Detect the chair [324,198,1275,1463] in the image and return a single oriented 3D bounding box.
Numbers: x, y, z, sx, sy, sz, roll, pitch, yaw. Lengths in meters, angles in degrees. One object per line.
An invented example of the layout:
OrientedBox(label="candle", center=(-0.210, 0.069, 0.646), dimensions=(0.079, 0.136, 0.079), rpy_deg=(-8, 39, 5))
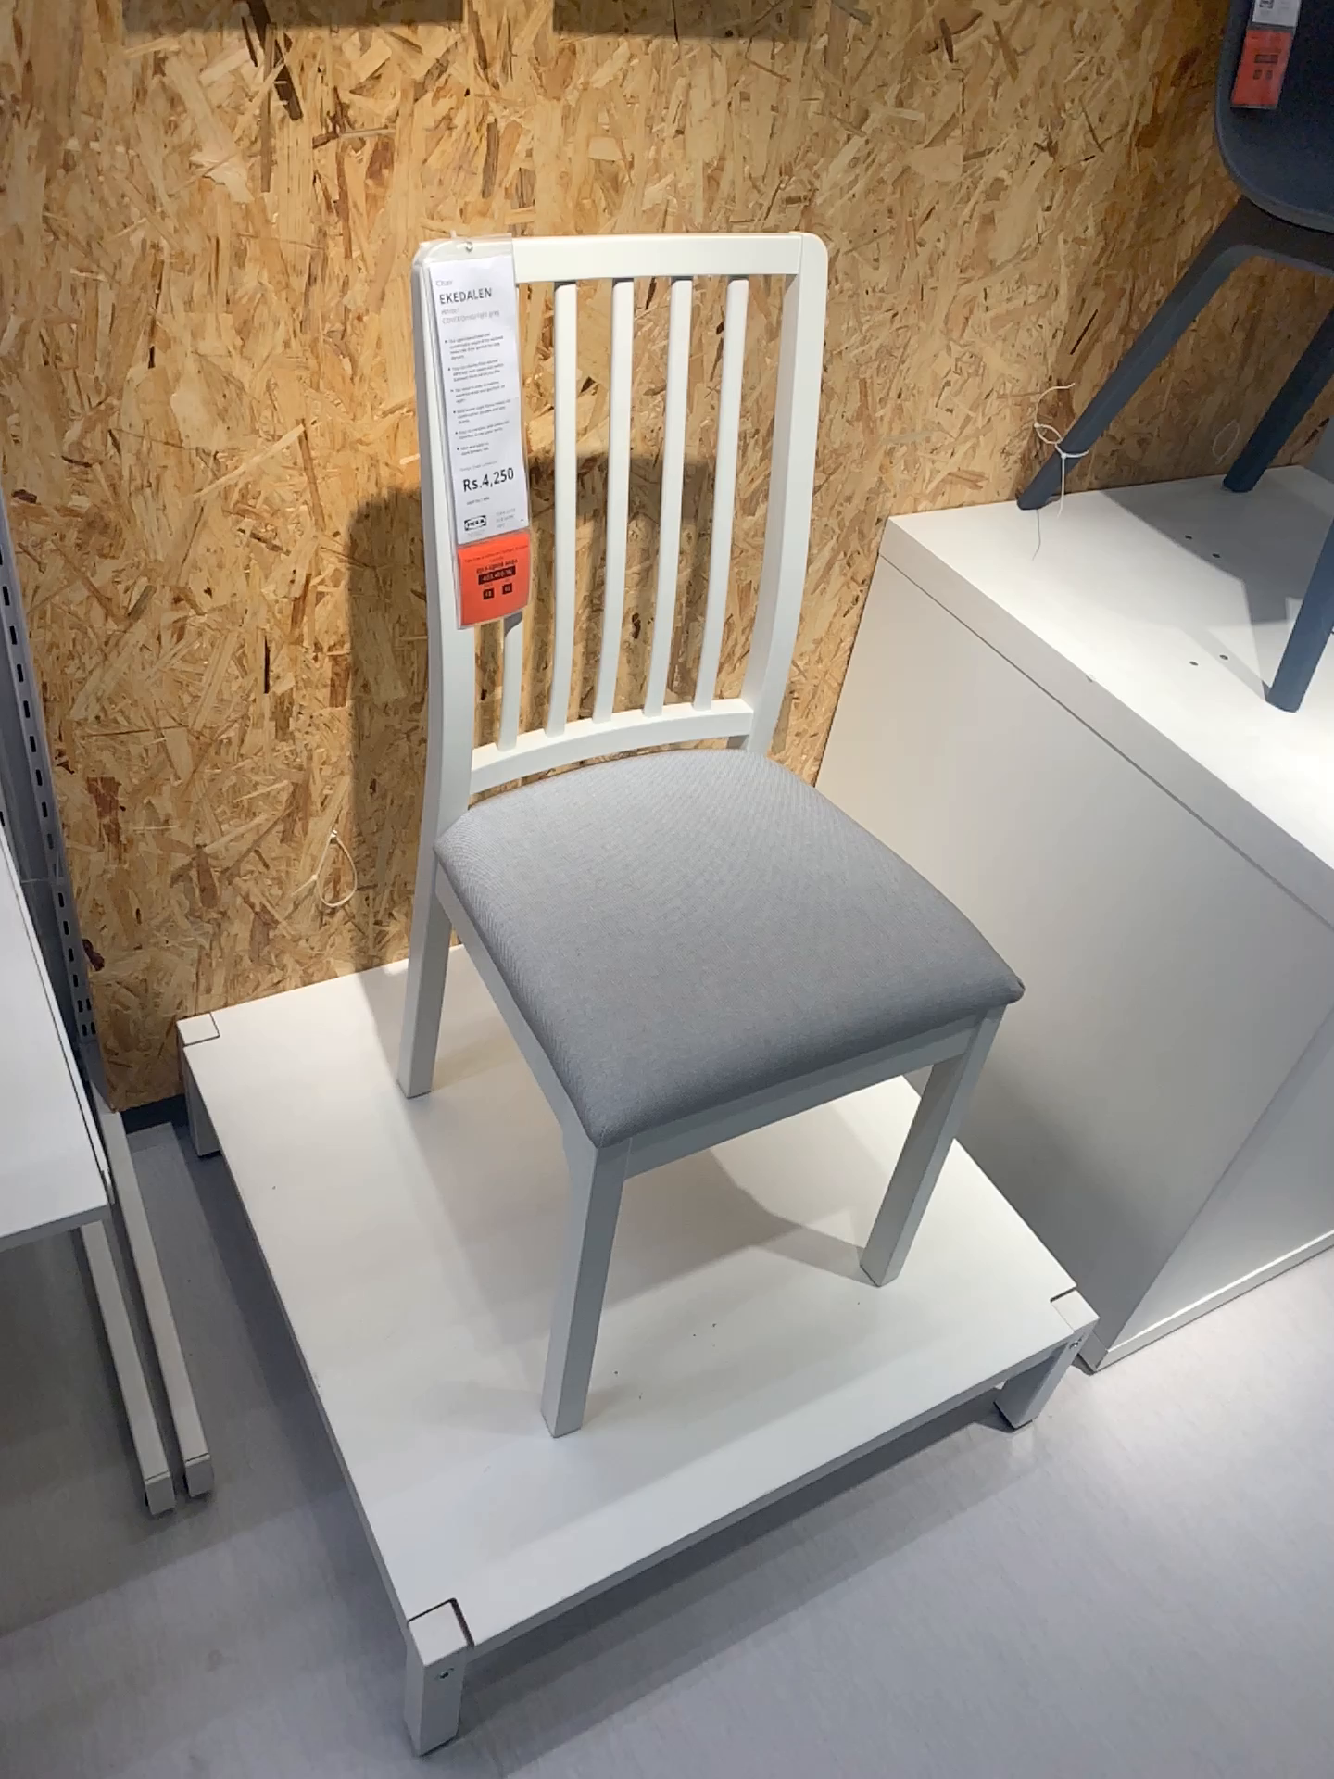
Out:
OrientedBox(label="chair", center=(0.003, -0.026, 1.214), dimensions=(0.451, 0.956, 0.491), rpy_deg=(-15, 46, -27))
